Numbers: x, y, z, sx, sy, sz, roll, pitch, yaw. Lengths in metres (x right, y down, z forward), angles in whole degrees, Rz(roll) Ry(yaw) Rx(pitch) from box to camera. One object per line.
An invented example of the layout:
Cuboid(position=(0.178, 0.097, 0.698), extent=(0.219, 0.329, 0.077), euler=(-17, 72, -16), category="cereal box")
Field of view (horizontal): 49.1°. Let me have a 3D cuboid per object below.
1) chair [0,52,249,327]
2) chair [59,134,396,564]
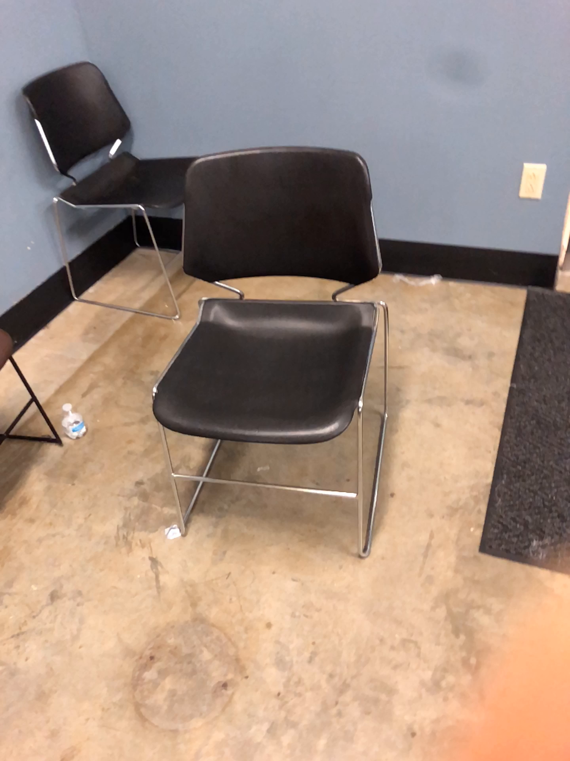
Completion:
Cuboid(position=(-0.578, -0.726, 2.363), extent=(0.596, 0.799, 0.552), euler=(10, 42, 22), category="chair")
Cuboid(position=(-0.033, -0.072, 1.471), extent=(0.531, 0.799, 0.546), euler=(3, 40, 14), category="chair")
